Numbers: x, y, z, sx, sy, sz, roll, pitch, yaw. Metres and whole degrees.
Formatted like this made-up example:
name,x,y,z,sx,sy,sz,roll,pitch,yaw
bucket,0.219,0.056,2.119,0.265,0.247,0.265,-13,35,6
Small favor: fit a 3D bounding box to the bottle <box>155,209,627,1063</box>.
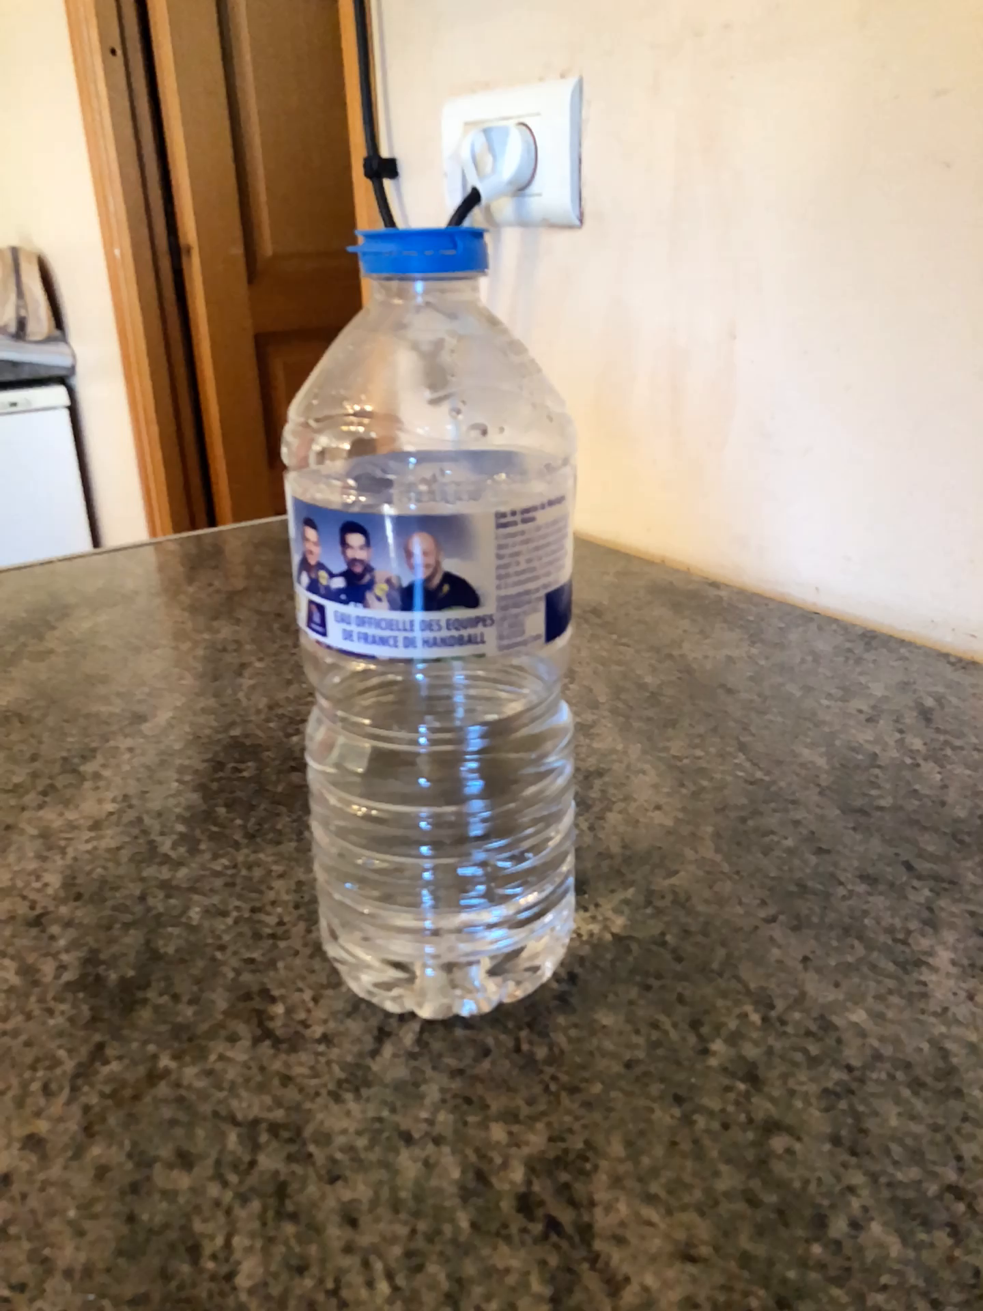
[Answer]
name,x,y,z,sx,sy,sz,roll,pitch,yaw
bottle,-0.013,-0.007,0.247,0.070,0.169,0.070,-3,19,1
